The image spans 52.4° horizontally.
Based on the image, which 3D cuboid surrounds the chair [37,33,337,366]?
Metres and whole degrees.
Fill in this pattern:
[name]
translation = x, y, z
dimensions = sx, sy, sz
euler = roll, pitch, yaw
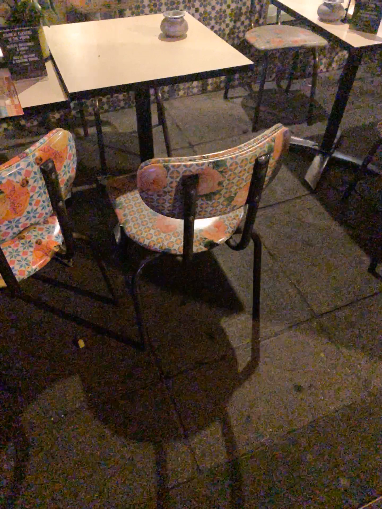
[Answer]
[chair]
translation = -0.053, -0.159, 1.183
dimensions = 0.521, 0.694, 0.574
euler = -19, 52, -17
